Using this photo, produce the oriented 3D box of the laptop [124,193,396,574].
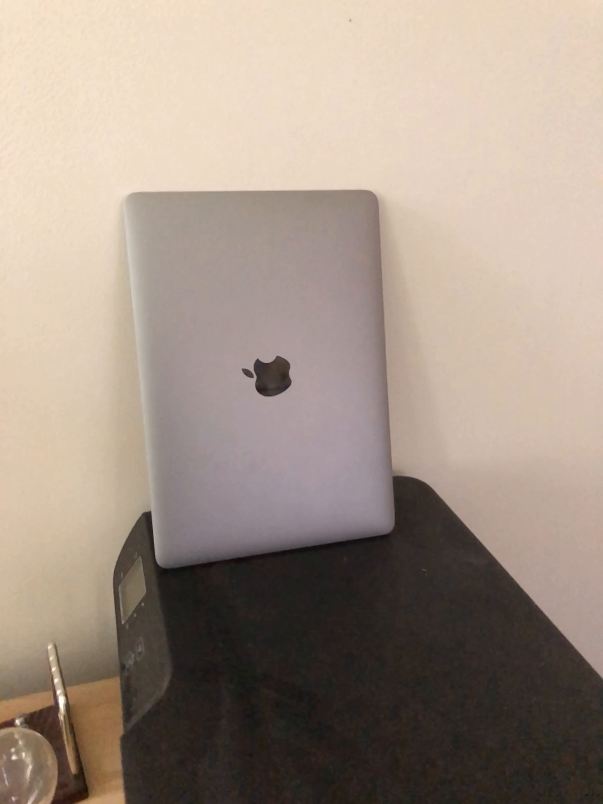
[{"bbox_3d":[-0.025,-0.018,0.519,0.196,0.275,0.002,-5,5,-15],"label":"laptop"}]
